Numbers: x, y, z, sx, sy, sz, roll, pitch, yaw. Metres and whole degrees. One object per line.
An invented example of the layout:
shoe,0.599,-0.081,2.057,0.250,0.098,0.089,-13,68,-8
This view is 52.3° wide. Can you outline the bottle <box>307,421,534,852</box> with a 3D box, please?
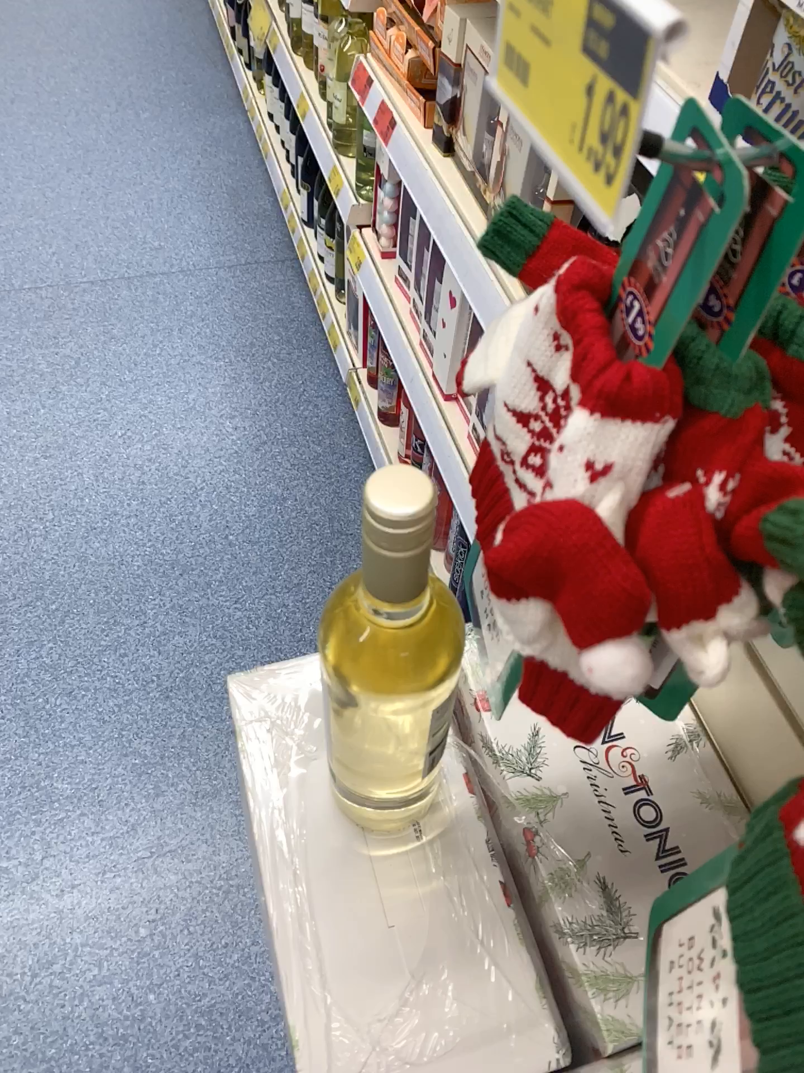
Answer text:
bottle,0.000,0.075,0.432,0.073,0.285,0.073,2,52,-3
